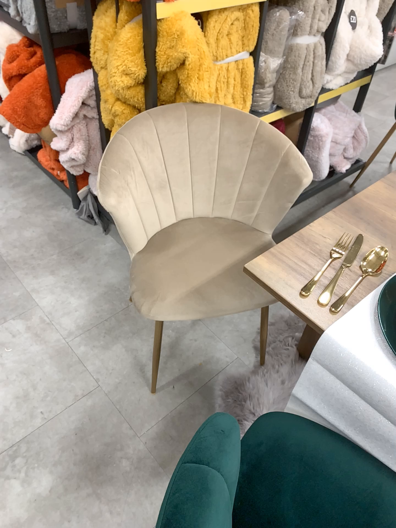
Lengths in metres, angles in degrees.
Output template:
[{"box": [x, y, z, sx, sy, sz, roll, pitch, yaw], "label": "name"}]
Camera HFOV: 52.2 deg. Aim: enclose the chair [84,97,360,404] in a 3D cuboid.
[{"box": [-0.002, -0.039, 1.270, 0.560, 0.722, 0.540, -8, 47, -13], "label": "chair"}]
